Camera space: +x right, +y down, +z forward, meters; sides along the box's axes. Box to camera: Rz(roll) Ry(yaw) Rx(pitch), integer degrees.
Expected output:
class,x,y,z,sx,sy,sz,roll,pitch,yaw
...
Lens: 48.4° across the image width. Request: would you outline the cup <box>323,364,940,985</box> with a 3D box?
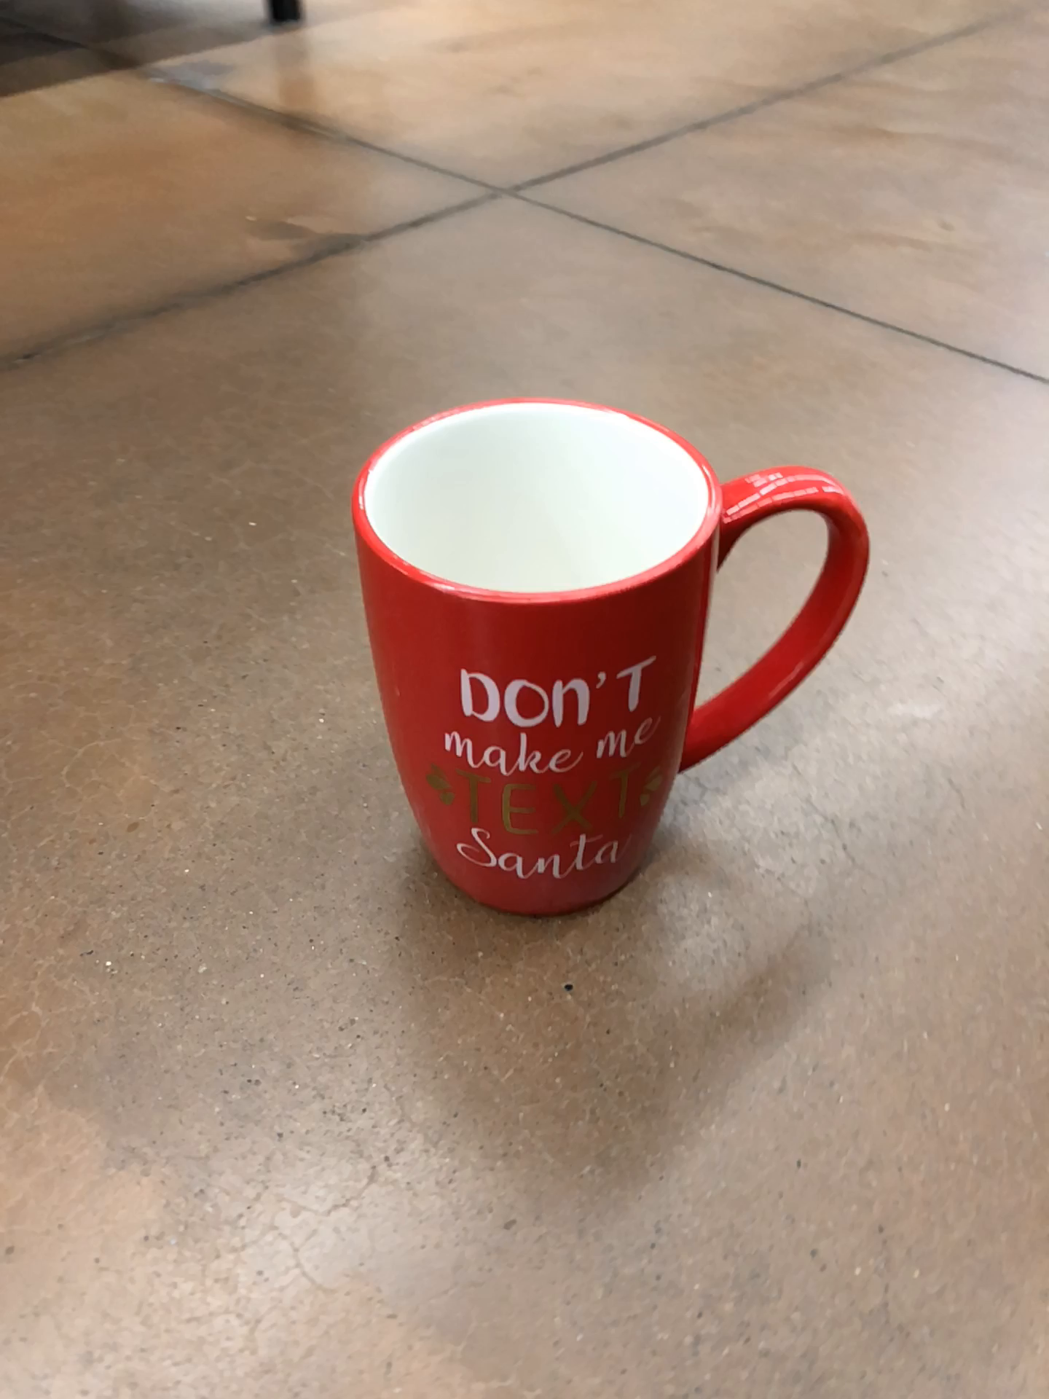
class,x,y,z,sx,sy,sz,roll,pitch,yaw
cup,0.020,-0.006,0.323,0.130,0.130,0.090,-7,42,-7
